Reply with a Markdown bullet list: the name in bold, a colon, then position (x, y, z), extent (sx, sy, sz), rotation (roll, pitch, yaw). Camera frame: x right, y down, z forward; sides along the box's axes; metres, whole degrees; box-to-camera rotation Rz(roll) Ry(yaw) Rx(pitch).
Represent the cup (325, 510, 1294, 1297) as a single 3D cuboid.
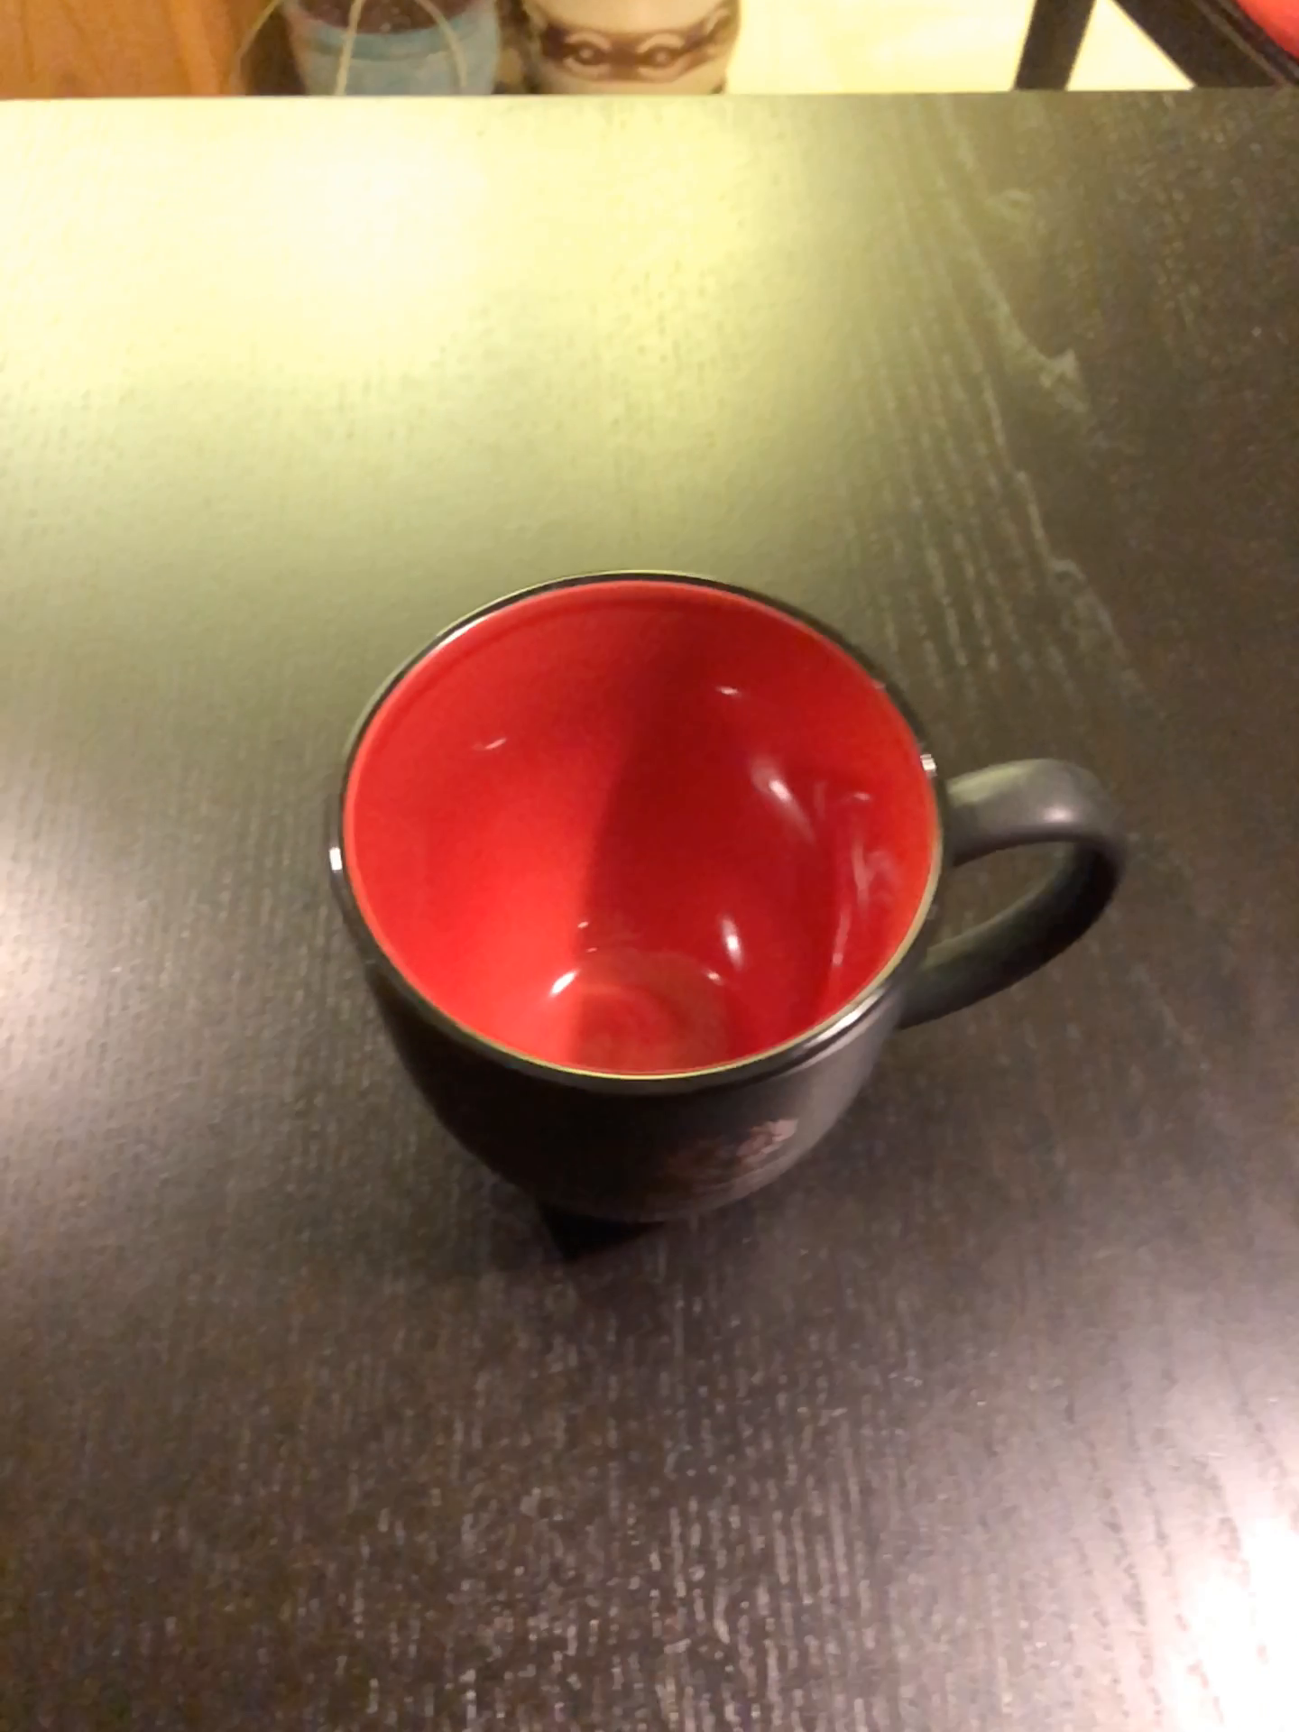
- **cup**: position (0.019, 0.012, 0.280), extent (0.140, 0.110, 0.100), rotation (-4, 59, -4)
